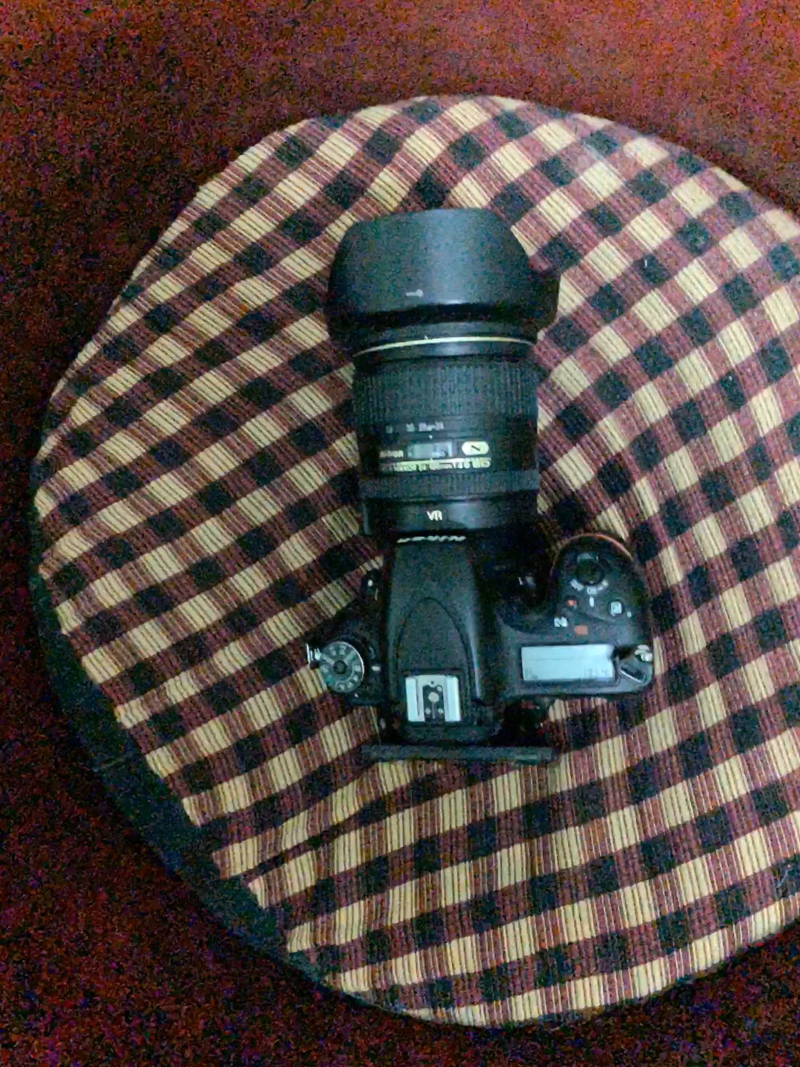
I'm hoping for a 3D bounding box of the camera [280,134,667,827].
[{"bbox_3d":[0.036,-0.017,0.363,0.140,0.101,0.250,-2,90,14],"label":"camera"}]
